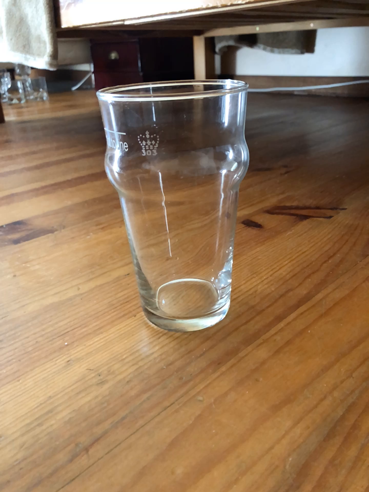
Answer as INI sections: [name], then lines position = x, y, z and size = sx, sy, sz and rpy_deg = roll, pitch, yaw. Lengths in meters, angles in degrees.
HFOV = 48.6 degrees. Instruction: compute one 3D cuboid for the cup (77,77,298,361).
[cup]
position = 0.009, -0.026, 0.275
size = 0.094, 0.151, 0.092
rpy_deg = -4, 28, 2
